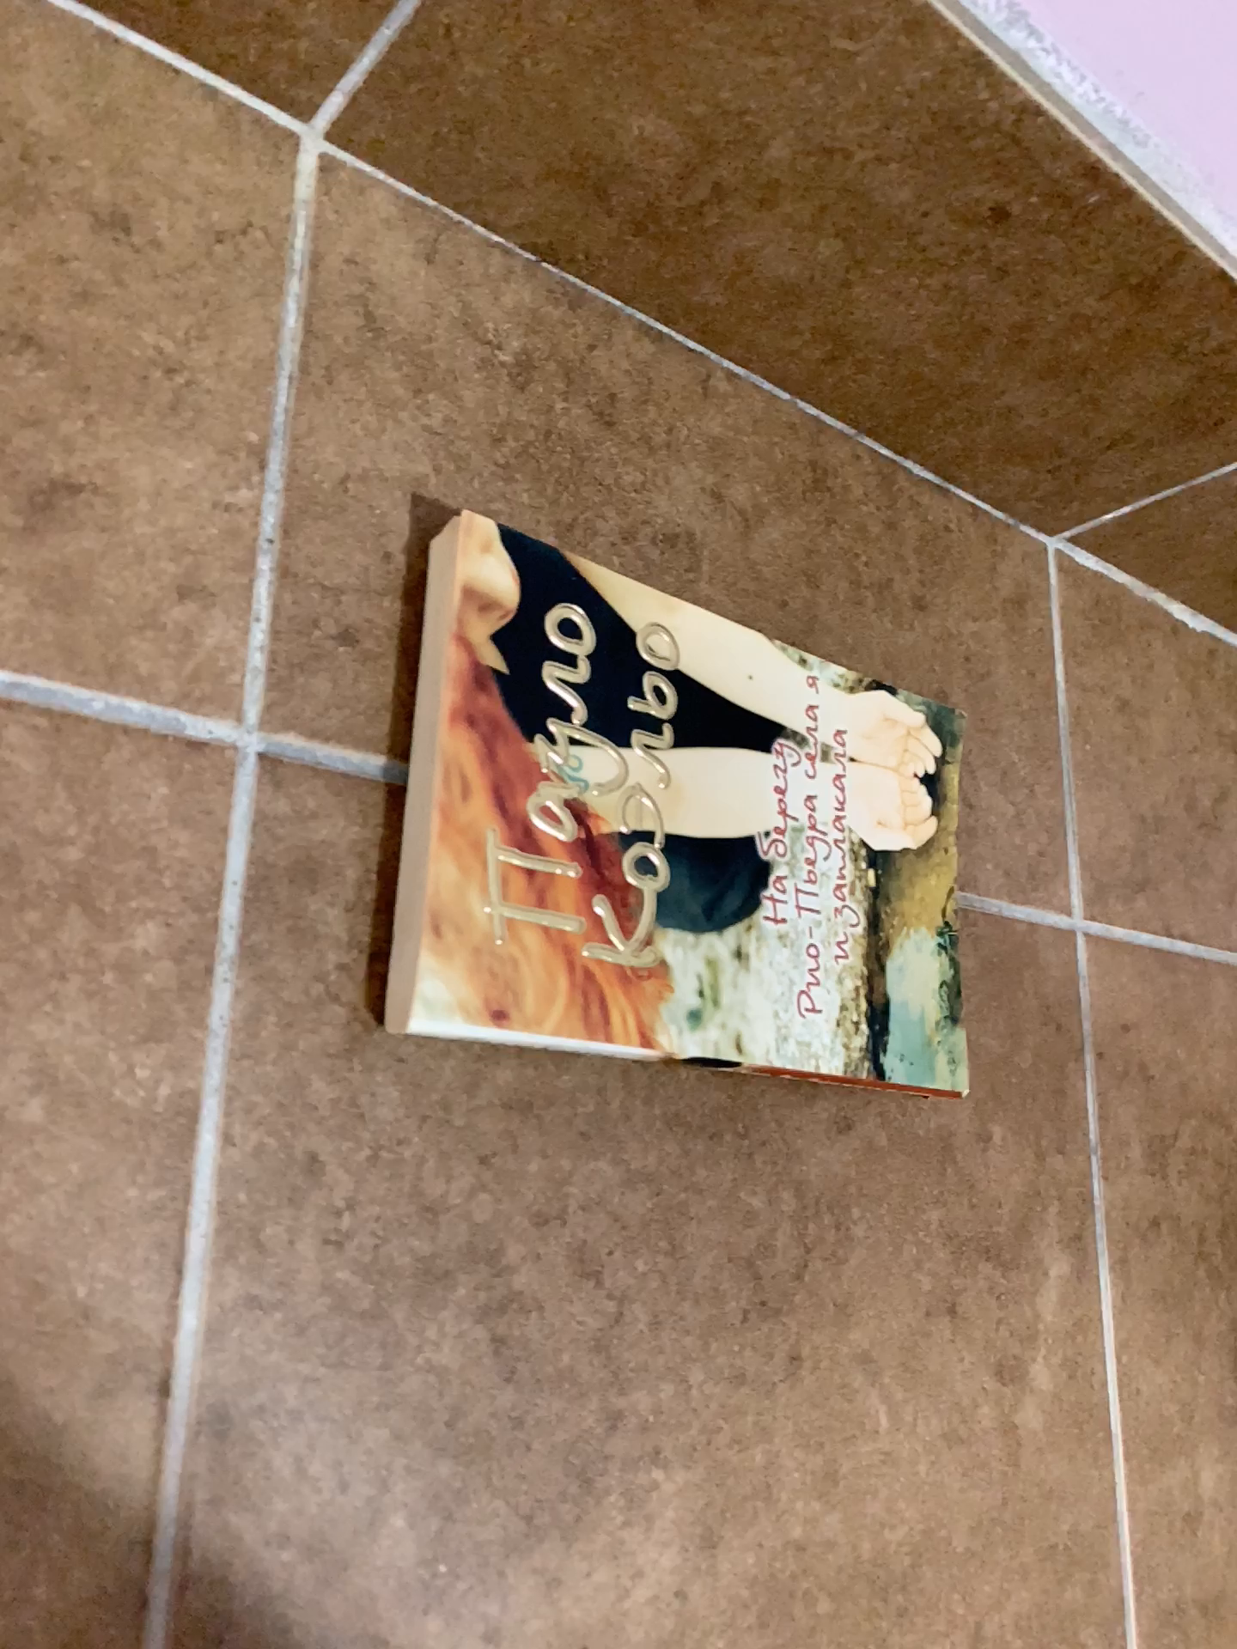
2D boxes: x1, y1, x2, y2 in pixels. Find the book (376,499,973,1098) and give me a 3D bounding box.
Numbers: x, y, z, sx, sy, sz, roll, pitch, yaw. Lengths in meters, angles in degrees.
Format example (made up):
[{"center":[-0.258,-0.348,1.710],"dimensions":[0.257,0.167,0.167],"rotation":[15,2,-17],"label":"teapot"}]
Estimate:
[{"center":[0.028,0.004,0.328],"dimensions":[0.182,0.016,0.119],"rotation":[14,71,-37],"label":"book"}]
